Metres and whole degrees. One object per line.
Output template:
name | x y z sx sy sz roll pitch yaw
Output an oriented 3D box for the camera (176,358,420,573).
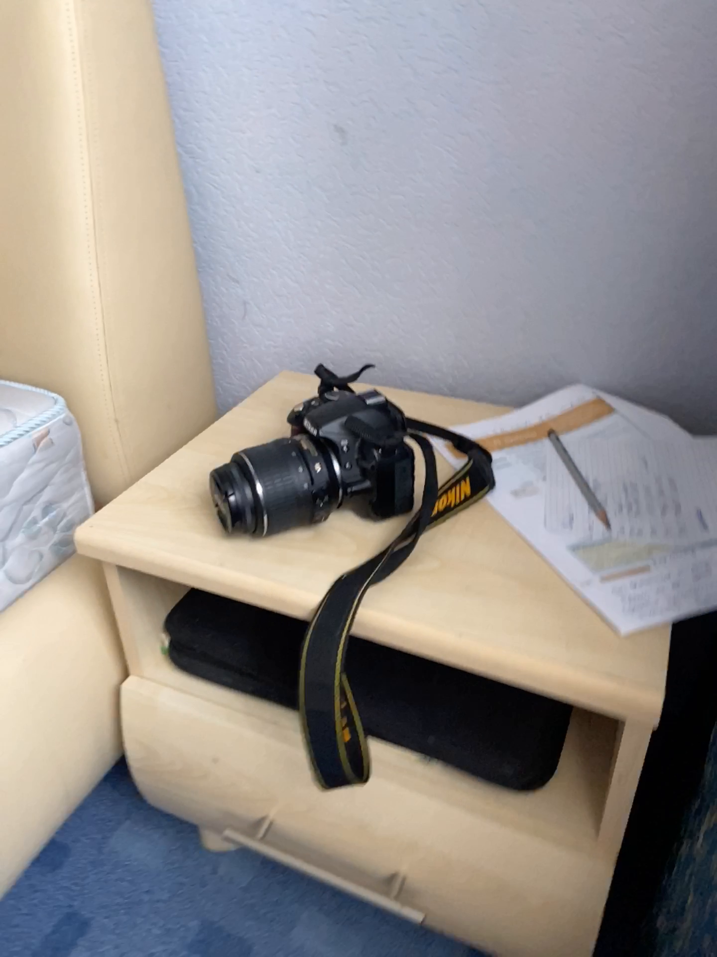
camera | -0.047 -0.018 0.587 0.152 0.091 0.119 -18 35 -23
